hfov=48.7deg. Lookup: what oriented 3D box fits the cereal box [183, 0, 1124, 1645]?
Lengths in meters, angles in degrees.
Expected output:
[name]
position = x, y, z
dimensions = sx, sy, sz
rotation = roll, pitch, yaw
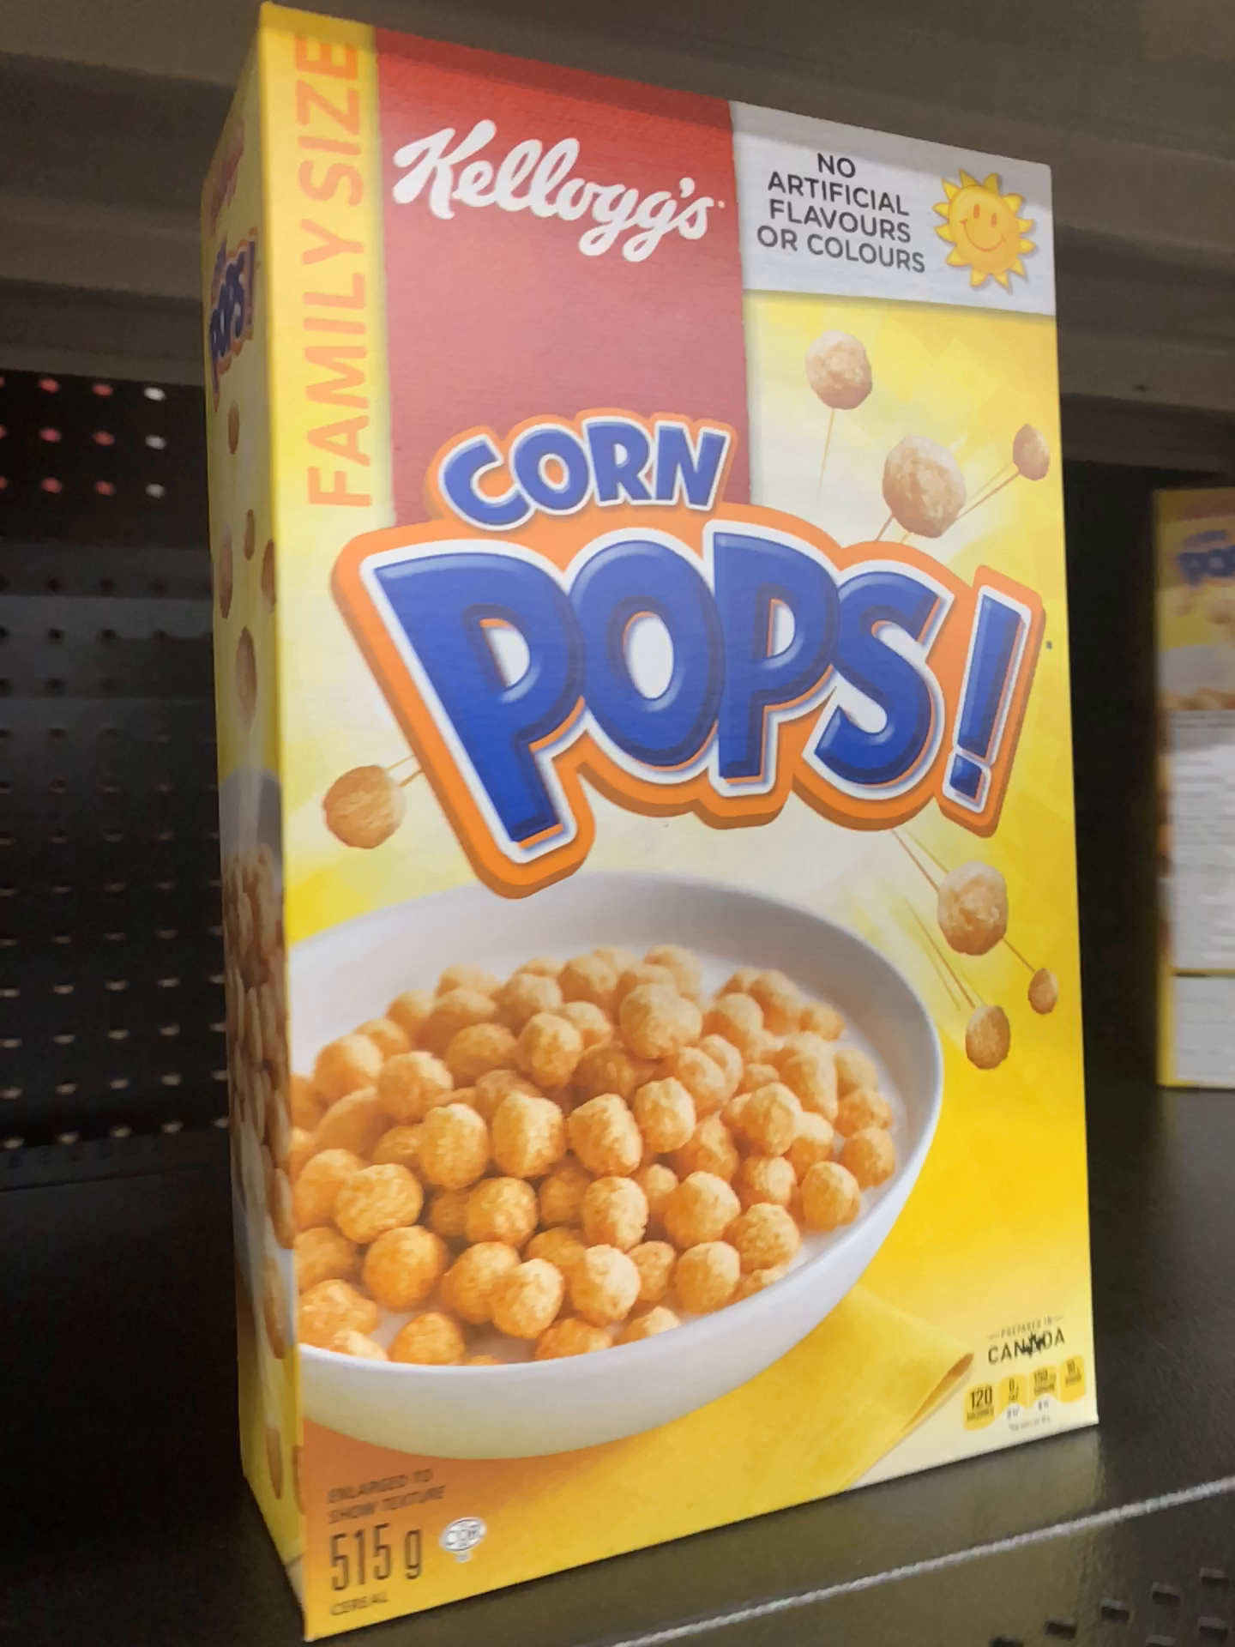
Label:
[cereal box]
position = 0.008, -0.013, 0.335
dimensions = 0.200, 0.320, 0.090
rotation = -1, -2, -25
